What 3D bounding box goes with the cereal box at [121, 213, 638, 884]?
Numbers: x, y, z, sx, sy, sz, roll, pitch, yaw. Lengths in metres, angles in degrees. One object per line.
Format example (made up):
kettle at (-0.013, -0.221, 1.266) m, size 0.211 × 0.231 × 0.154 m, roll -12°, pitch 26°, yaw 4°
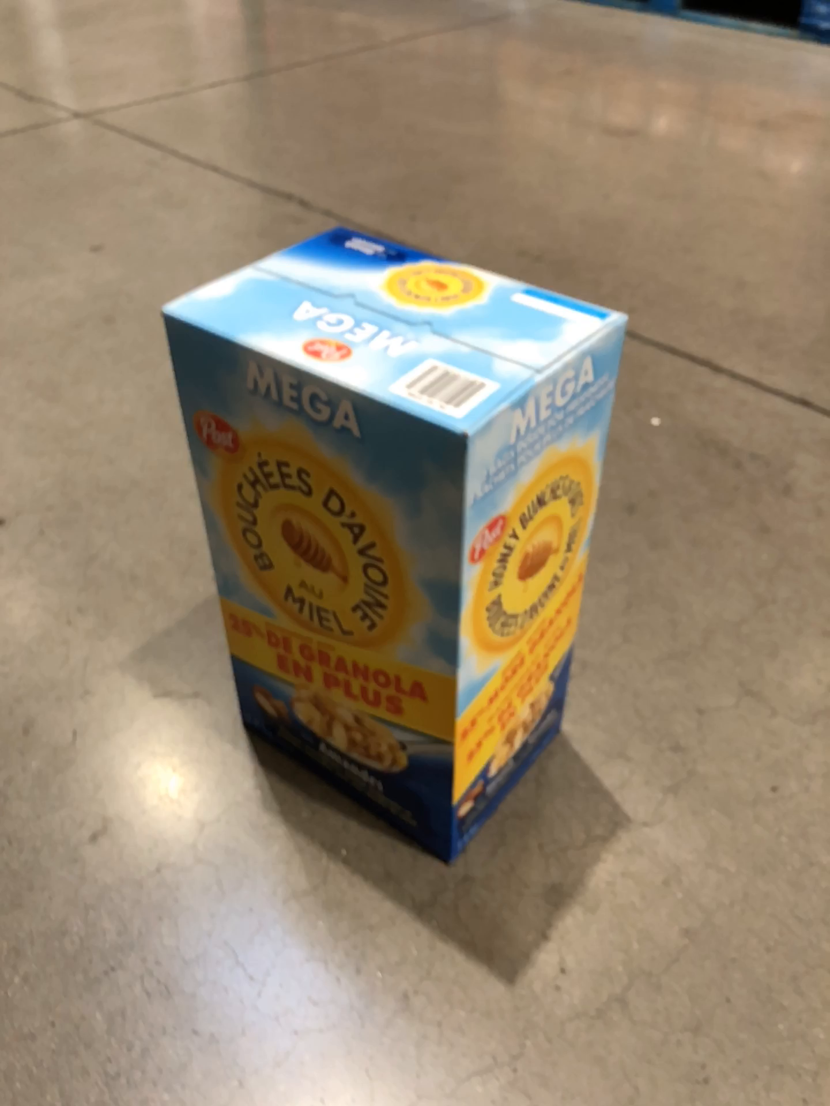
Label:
cereal box at (-0.018, 0.001, 0.570) m, size 0.210 × 0.329 × 0.150 m, roll 26°, pitch 47°, yaw 28°
